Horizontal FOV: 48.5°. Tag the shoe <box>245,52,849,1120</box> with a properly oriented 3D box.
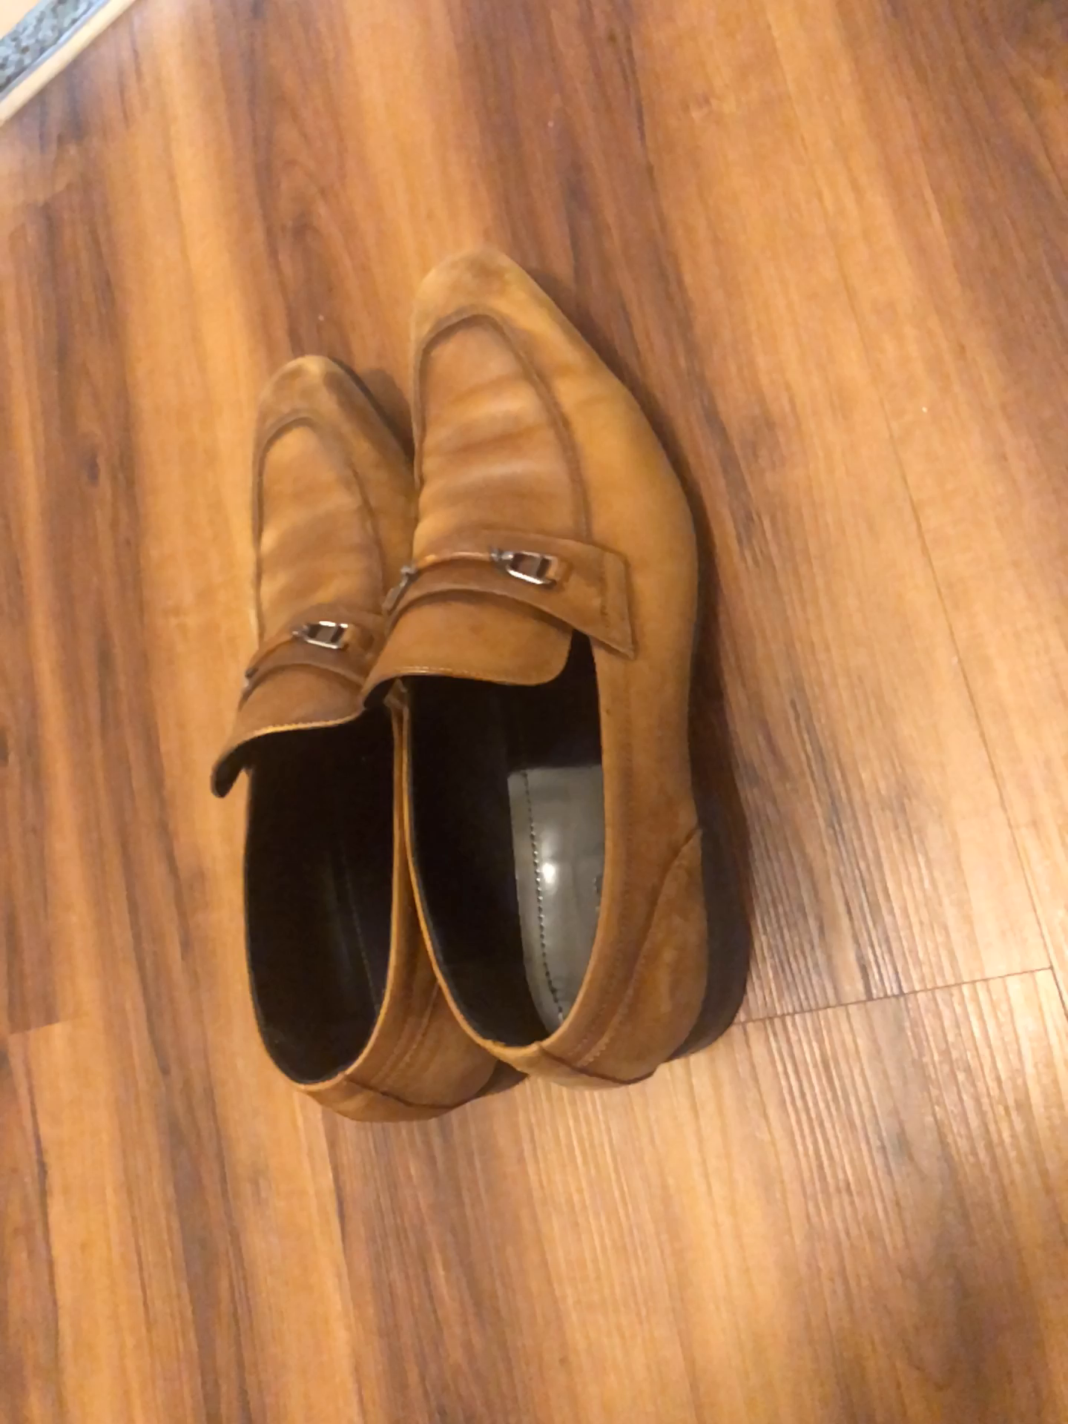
[{"bbox_3d":[0.000,-0.036,0.404,0.107,0.112,0.308,-19,75,32],"label":"shoe"}]

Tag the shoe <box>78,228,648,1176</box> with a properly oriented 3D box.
[{"bbox_3d":[-0.070,-0.004,0.451,0.107,0.112,0.308,-24,72,31],"label":"shoe"}]
